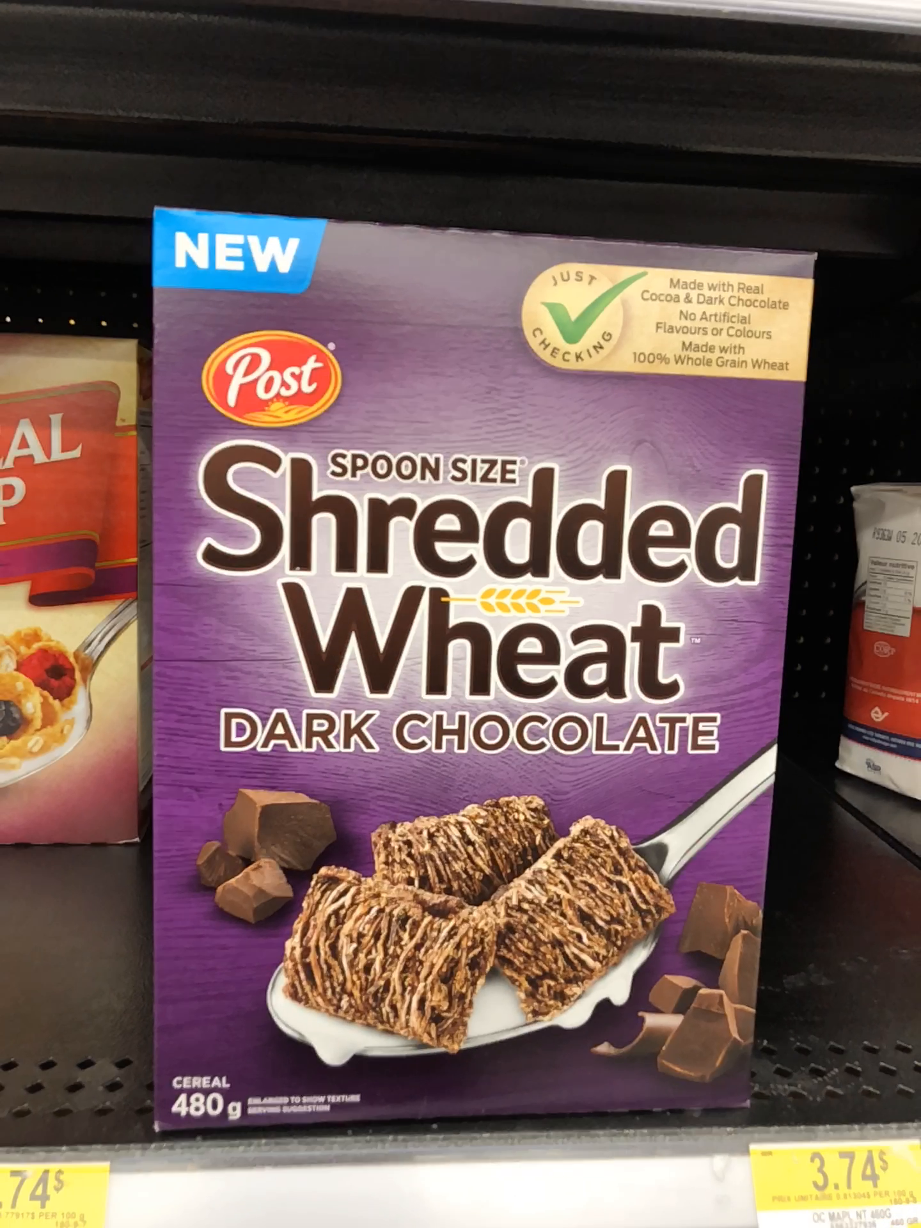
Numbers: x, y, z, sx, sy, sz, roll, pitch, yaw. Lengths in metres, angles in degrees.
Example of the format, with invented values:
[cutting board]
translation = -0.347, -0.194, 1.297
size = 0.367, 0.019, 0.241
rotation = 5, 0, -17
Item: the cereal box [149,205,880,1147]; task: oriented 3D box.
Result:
[cereal box]
translation = 0.011, 0.023, 0.325
size = 0.200, 0.269, 0.060
rotation = 1, 9, -7
